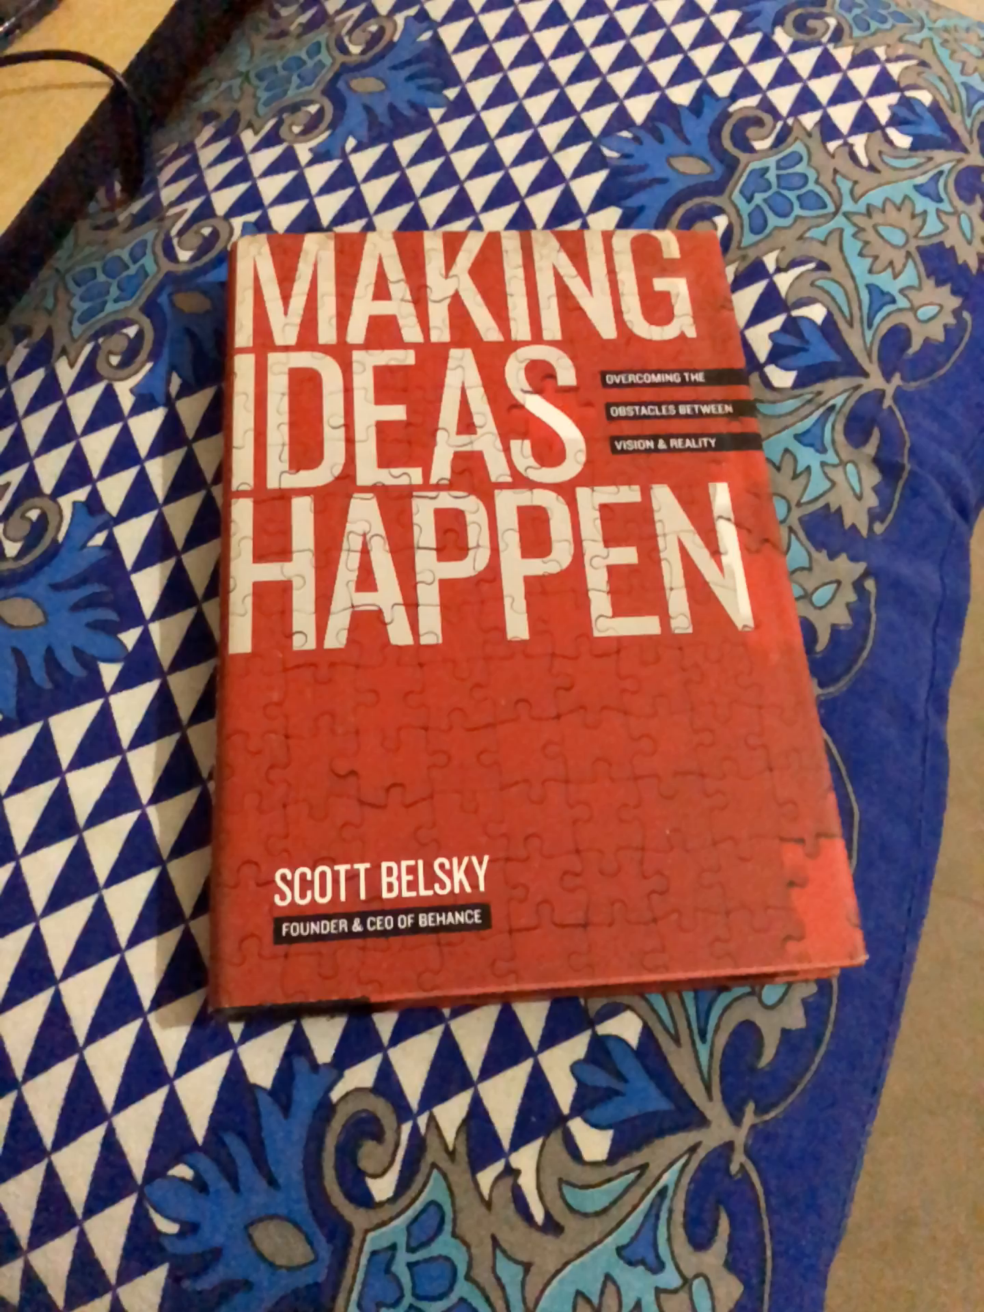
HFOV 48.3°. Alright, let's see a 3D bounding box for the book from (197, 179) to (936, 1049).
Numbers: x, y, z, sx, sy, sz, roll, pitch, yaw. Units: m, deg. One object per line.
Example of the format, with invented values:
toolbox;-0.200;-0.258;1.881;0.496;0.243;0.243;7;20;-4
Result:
book;0.007;-0.031;0.303;0.160;0.030;0.250;-3;64;-5
